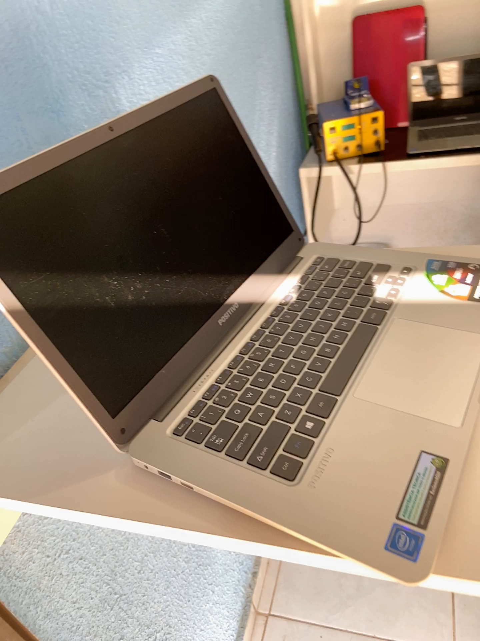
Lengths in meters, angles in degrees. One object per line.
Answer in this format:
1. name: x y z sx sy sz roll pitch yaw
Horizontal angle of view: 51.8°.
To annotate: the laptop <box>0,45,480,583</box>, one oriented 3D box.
1. laptop: 0.028 -0.062 0.391 0.311 0.189 0.334 11 41 31
